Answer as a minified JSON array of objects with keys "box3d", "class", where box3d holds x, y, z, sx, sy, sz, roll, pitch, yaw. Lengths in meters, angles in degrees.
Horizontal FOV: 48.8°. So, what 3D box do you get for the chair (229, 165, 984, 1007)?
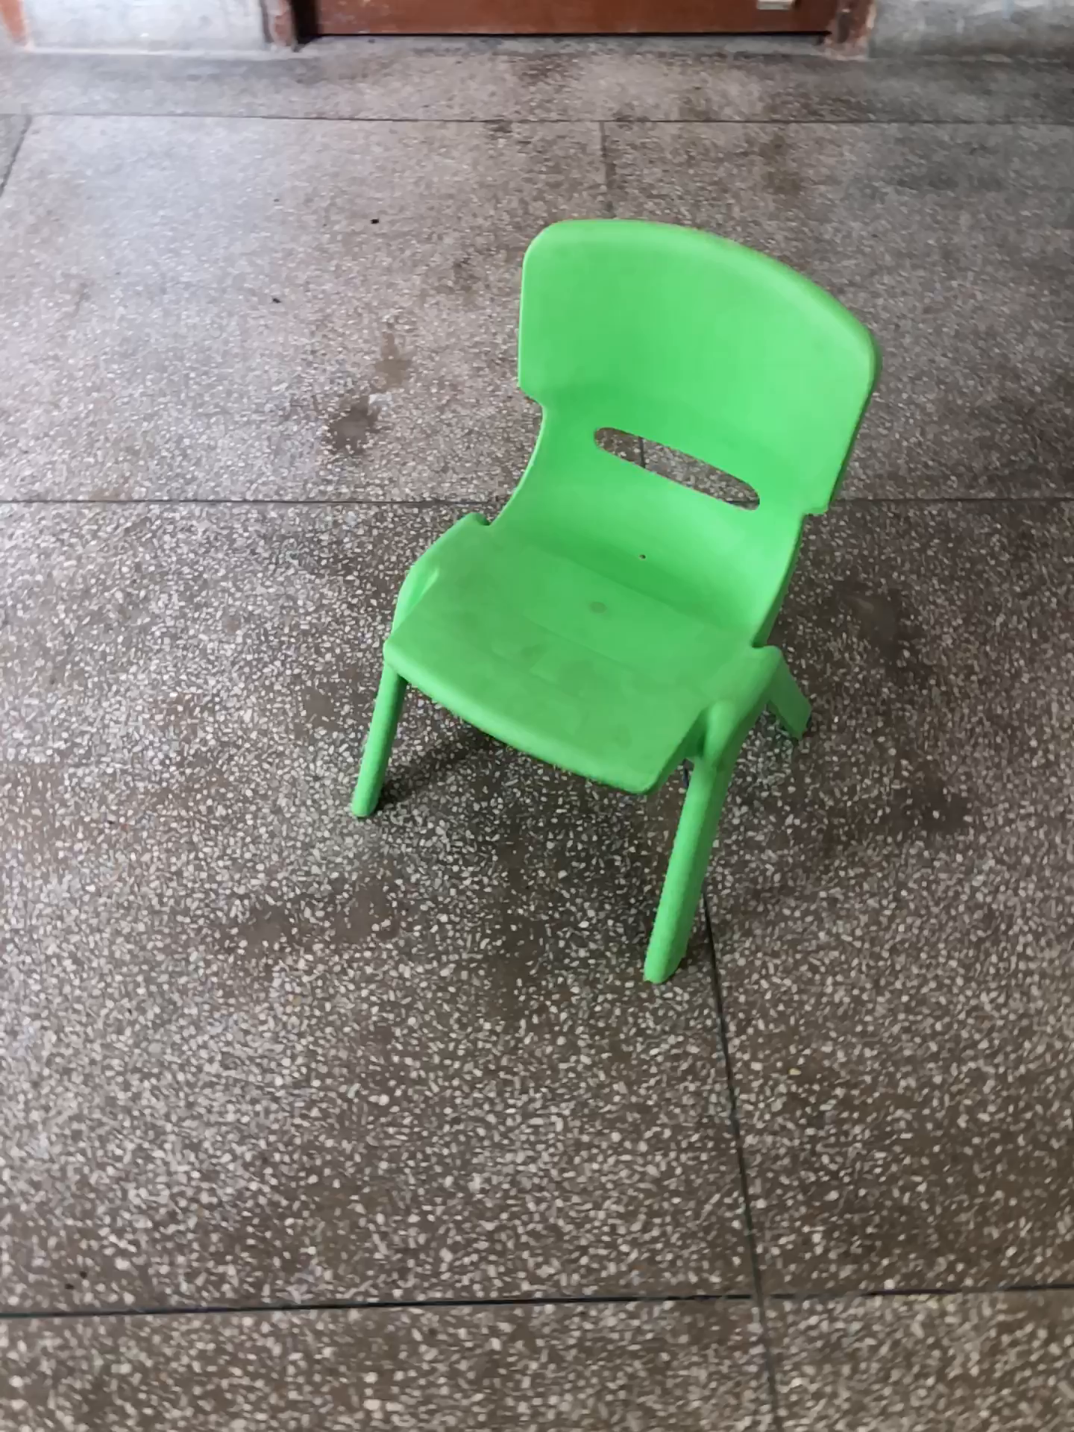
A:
[{"box3d":[0.057,-0.097,0.988,0.370,0.459,0.391,26,57,17],"class":"chair"}]
